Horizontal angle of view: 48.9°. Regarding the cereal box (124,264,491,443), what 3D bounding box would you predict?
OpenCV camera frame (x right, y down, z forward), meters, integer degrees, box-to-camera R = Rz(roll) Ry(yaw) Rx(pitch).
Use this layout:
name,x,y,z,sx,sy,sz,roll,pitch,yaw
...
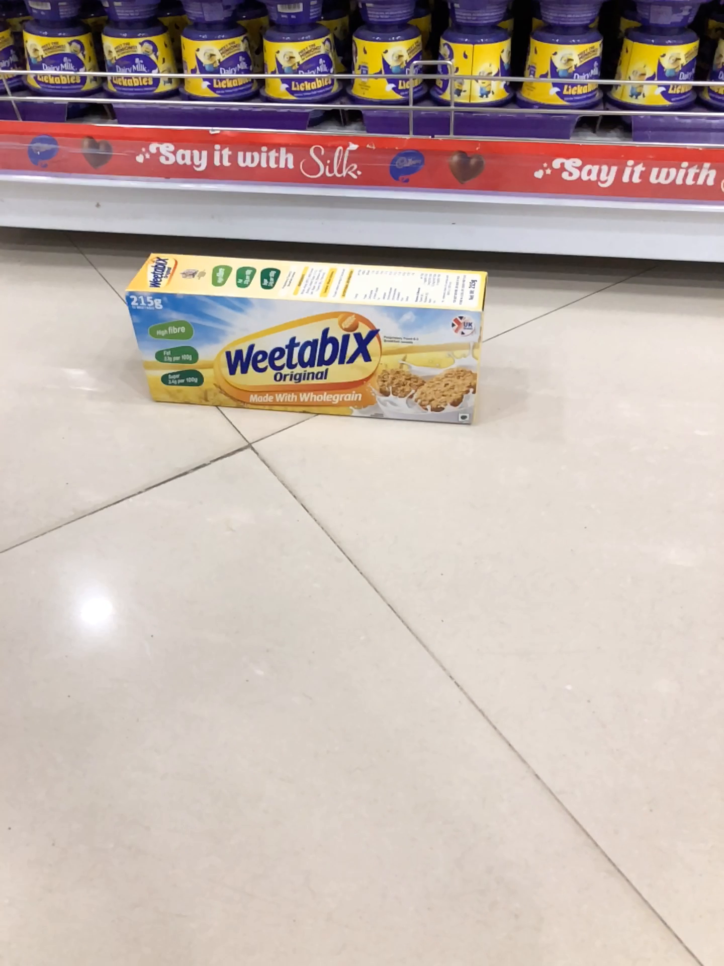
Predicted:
name,x,y,z,sx,sy,sz,roll,pitch,yaw
cereal box,-0.035,-0.097,0.591,0.250,0.099,0.060,5,43,7
